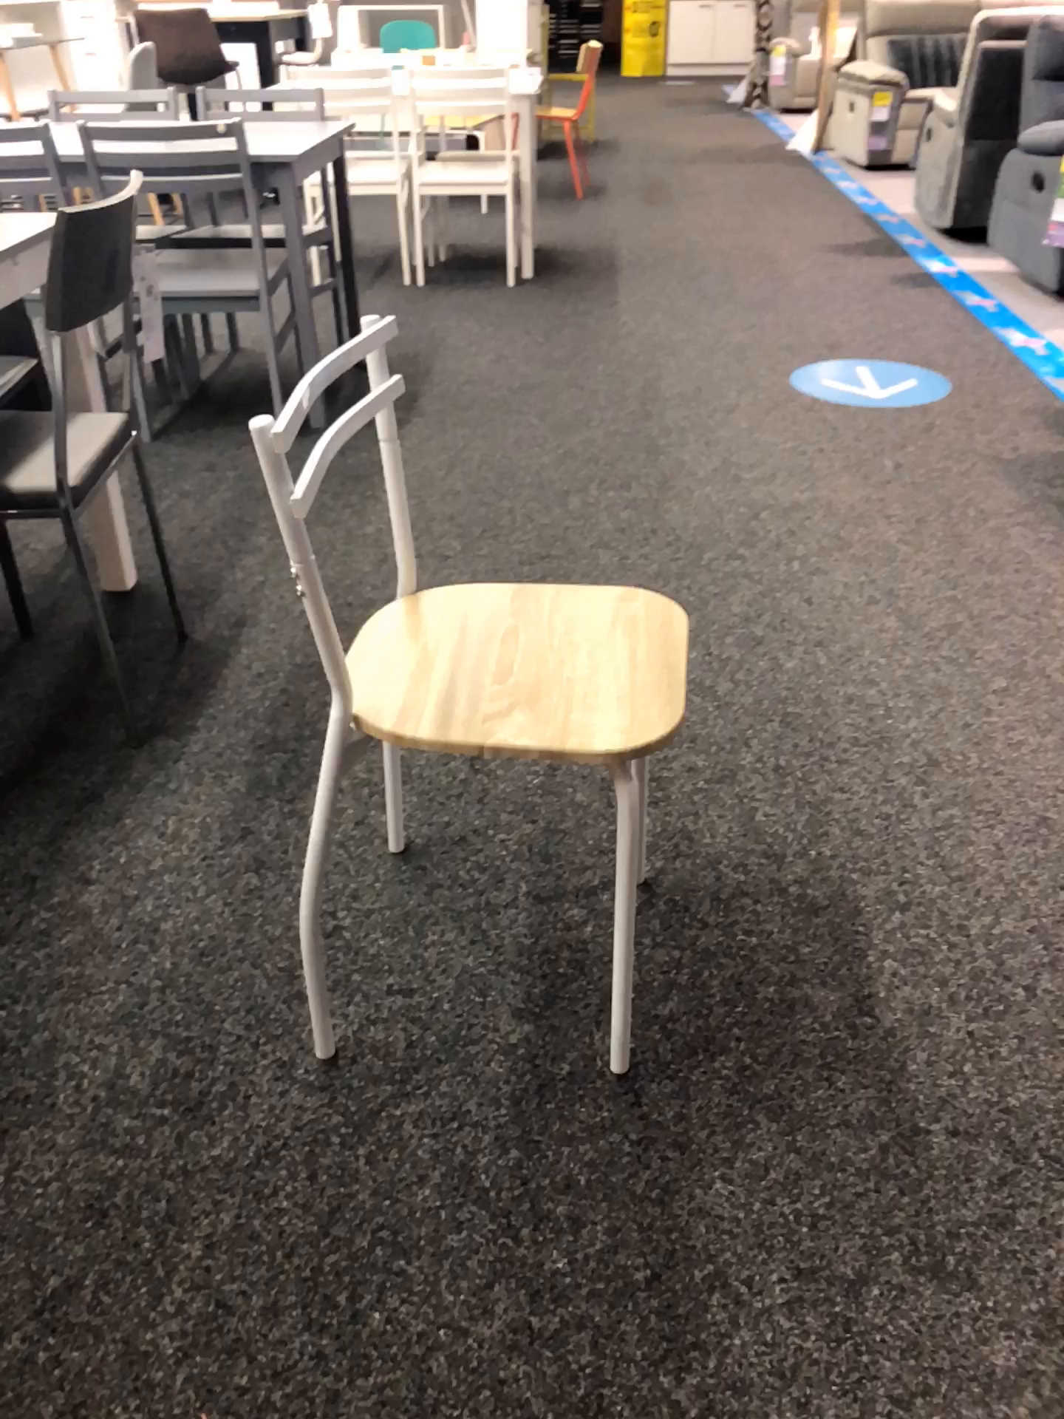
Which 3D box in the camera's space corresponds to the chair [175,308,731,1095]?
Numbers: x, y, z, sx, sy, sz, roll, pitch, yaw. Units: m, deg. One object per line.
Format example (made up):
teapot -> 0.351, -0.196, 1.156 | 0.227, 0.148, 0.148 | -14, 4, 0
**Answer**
chair -> -0.047, -0.022, 1.319 | 0.440, 0.726, 0.503 | 1, 31, 3
